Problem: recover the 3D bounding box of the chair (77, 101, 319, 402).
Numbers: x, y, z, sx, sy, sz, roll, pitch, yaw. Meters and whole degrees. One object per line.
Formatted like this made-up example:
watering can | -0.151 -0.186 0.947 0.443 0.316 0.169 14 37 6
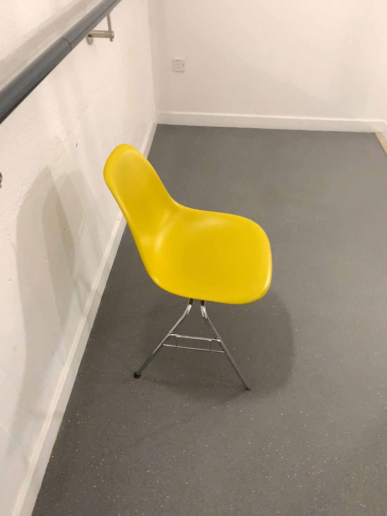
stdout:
chair | 0.031 -0.010 1.388 0.540 0.822 0.636 3 44 3
